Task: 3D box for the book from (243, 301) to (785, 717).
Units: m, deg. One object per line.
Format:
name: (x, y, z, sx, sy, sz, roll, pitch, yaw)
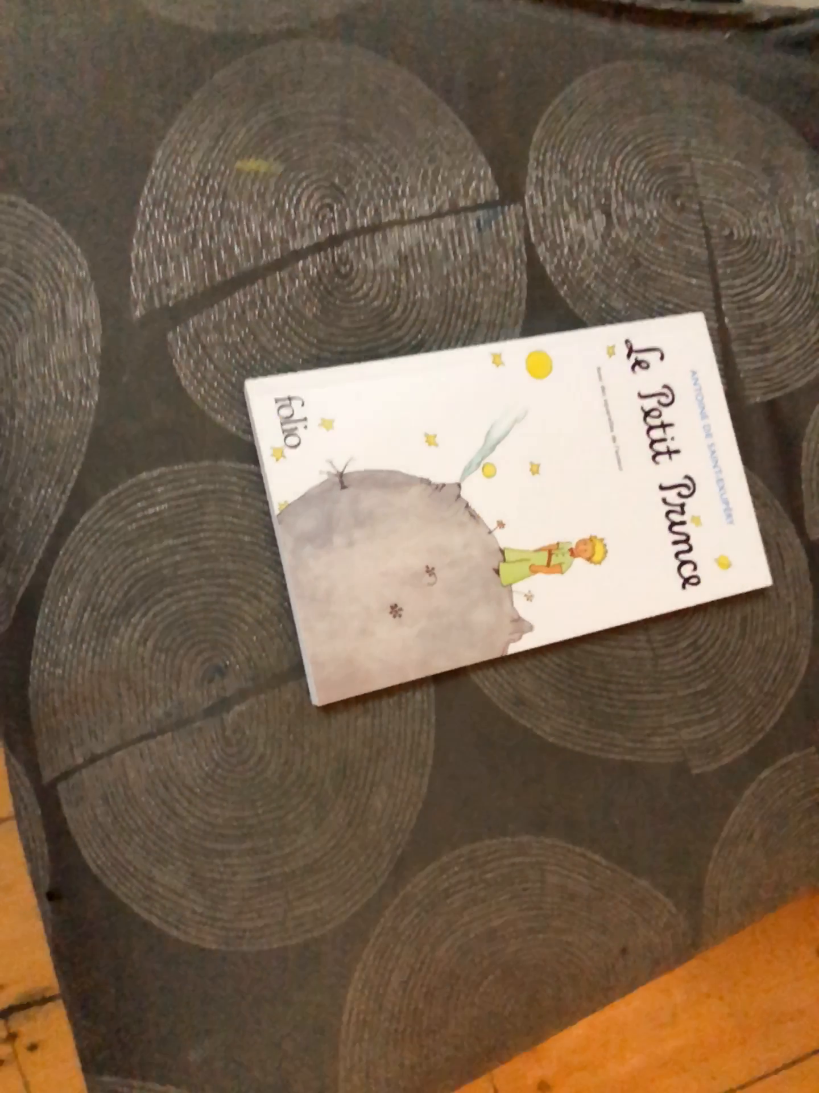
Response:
book: (0.038, -0.016, 0.316, 0.170, 0.030, 0.110, -11, 90, -13)
